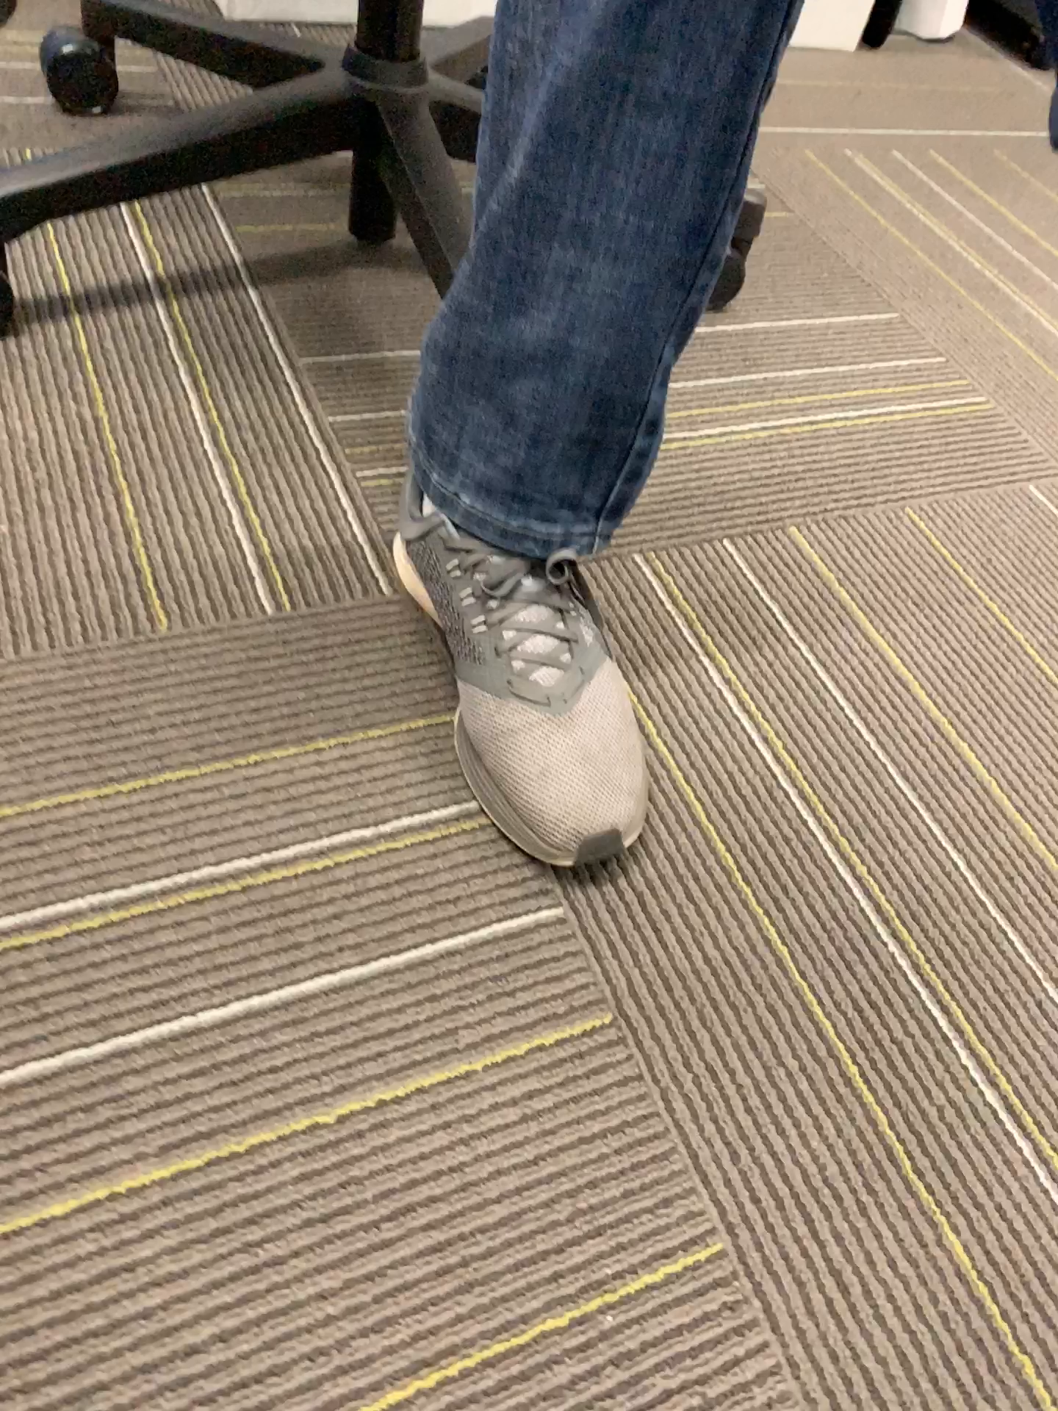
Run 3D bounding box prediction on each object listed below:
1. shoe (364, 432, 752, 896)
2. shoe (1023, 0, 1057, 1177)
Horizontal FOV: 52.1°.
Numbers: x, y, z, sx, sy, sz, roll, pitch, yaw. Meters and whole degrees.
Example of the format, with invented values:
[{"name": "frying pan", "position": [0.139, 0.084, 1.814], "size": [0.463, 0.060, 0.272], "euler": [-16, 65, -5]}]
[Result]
[{"name": "shoe", "position": [0.002, -0.038, 0.634], "size": [0.120, 0.085, 0.270], "euler": [-10, 53, -22]}, {"name": "shoe", "position": [0.276, -0.066, 0.281], "size": [0.122, 0.142, 0.296], "euler": [-30, 42, 15]}]
